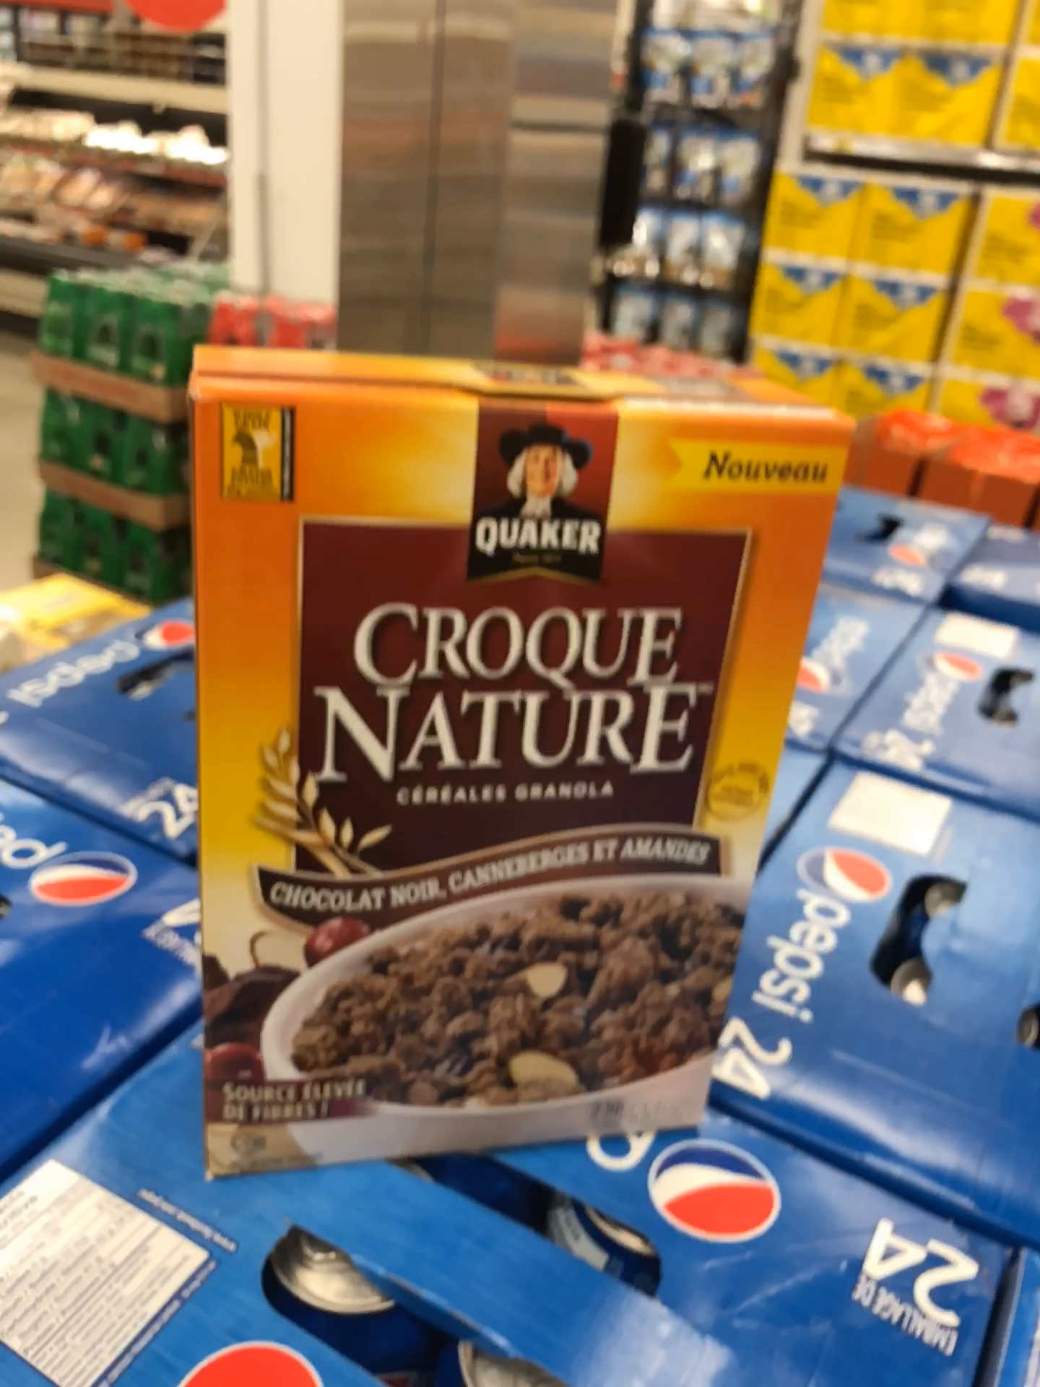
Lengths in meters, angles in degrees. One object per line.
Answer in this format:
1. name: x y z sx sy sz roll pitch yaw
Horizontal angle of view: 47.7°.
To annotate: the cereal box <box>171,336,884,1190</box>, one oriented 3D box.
1. cereal box: -0.009 0.026 0.333 0.160 0.229 0.060 -1 27 -13
